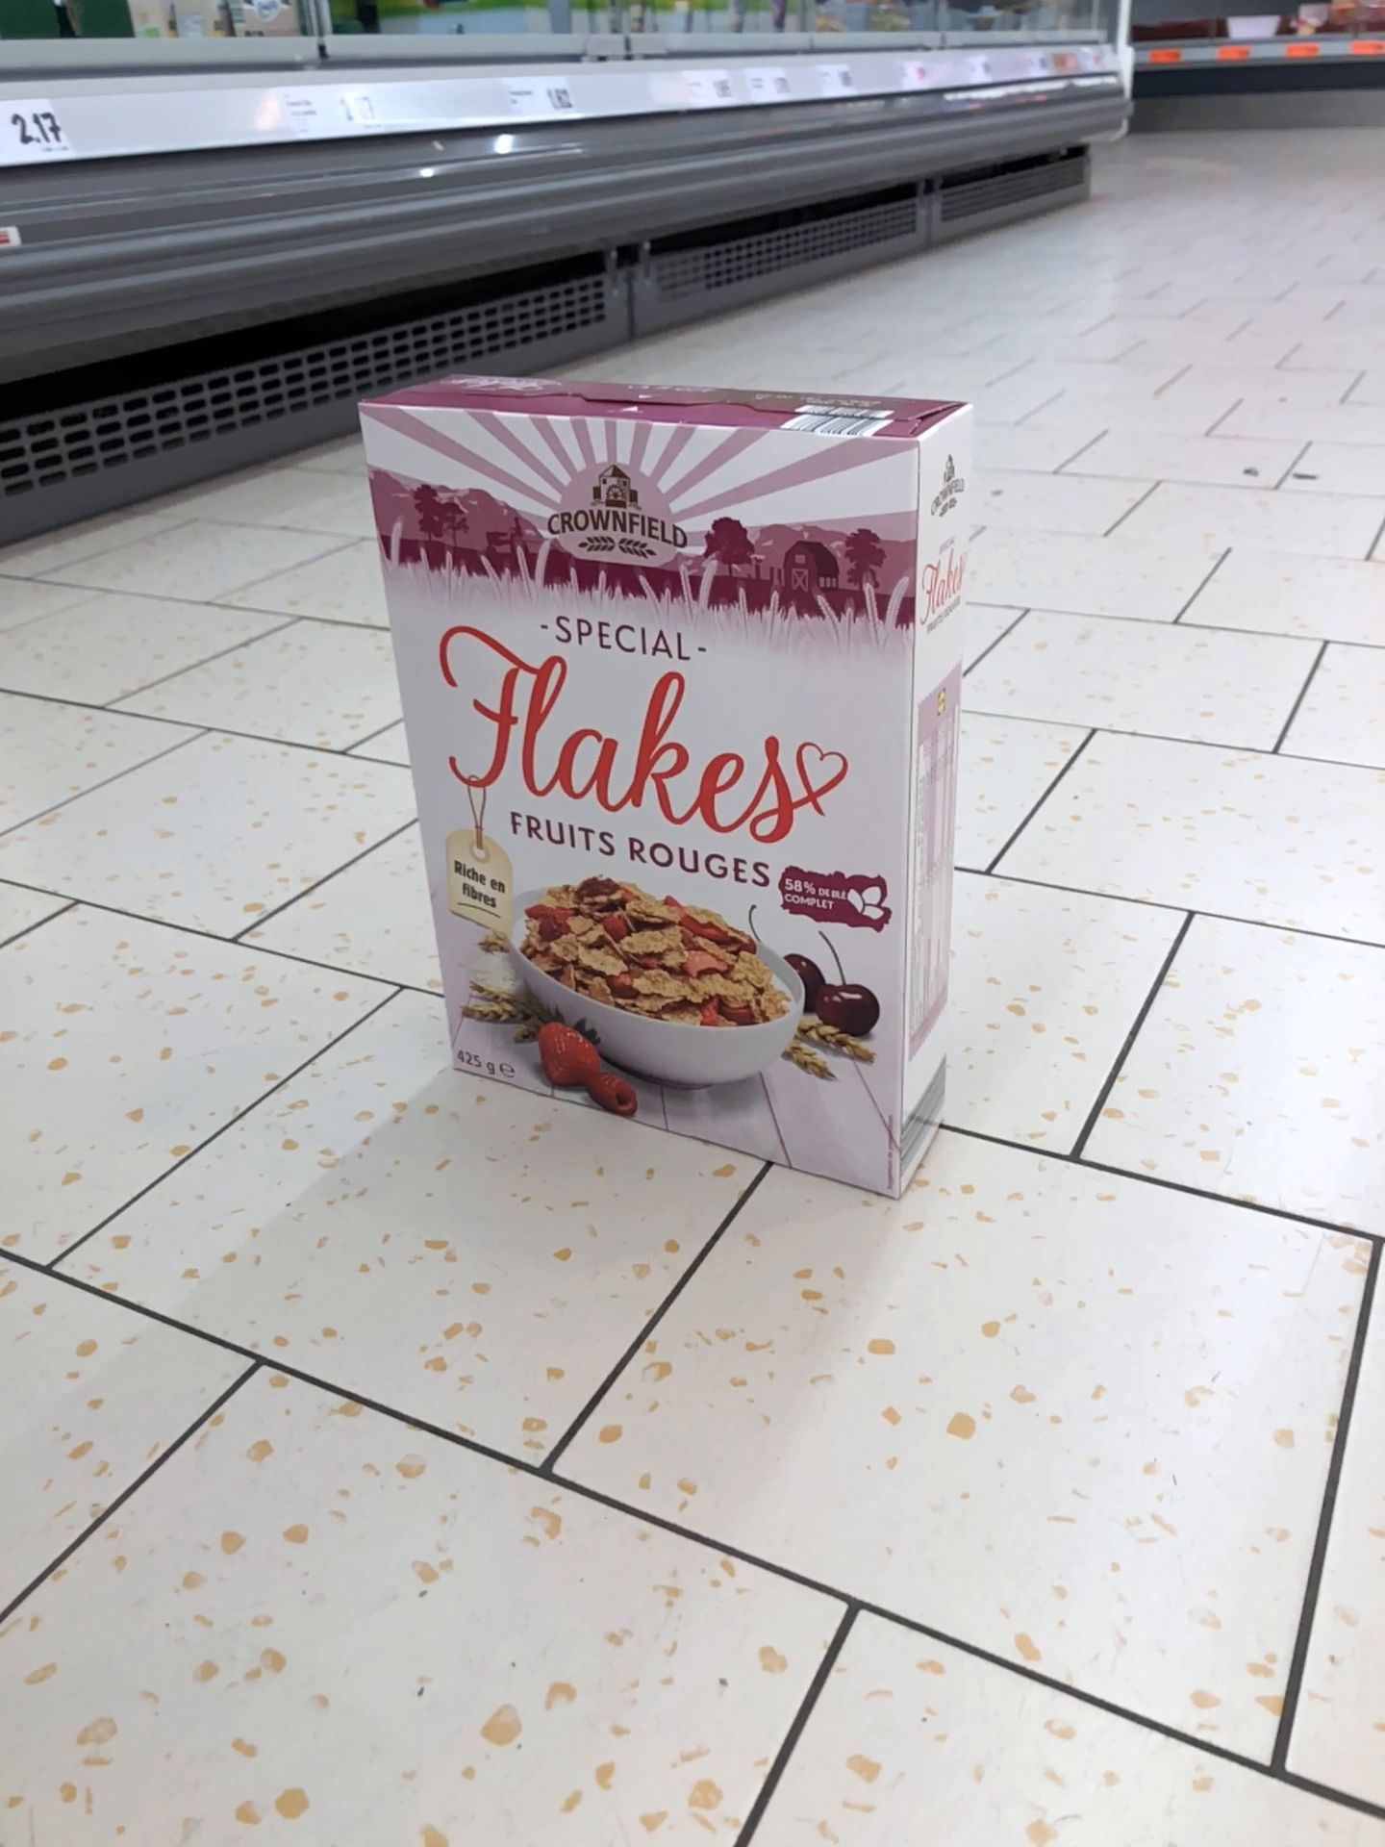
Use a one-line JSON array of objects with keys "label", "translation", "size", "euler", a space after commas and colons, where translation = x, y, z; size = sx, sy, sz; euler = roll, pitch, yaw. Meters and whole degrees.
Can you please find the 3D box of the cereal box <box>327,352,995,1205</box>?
[{"label": "cereal box", "translation": [-0.007, -0.052, 0.520], "size": [0.200, 0.259, 0.060], "euler": [12, 31, 27]}]
